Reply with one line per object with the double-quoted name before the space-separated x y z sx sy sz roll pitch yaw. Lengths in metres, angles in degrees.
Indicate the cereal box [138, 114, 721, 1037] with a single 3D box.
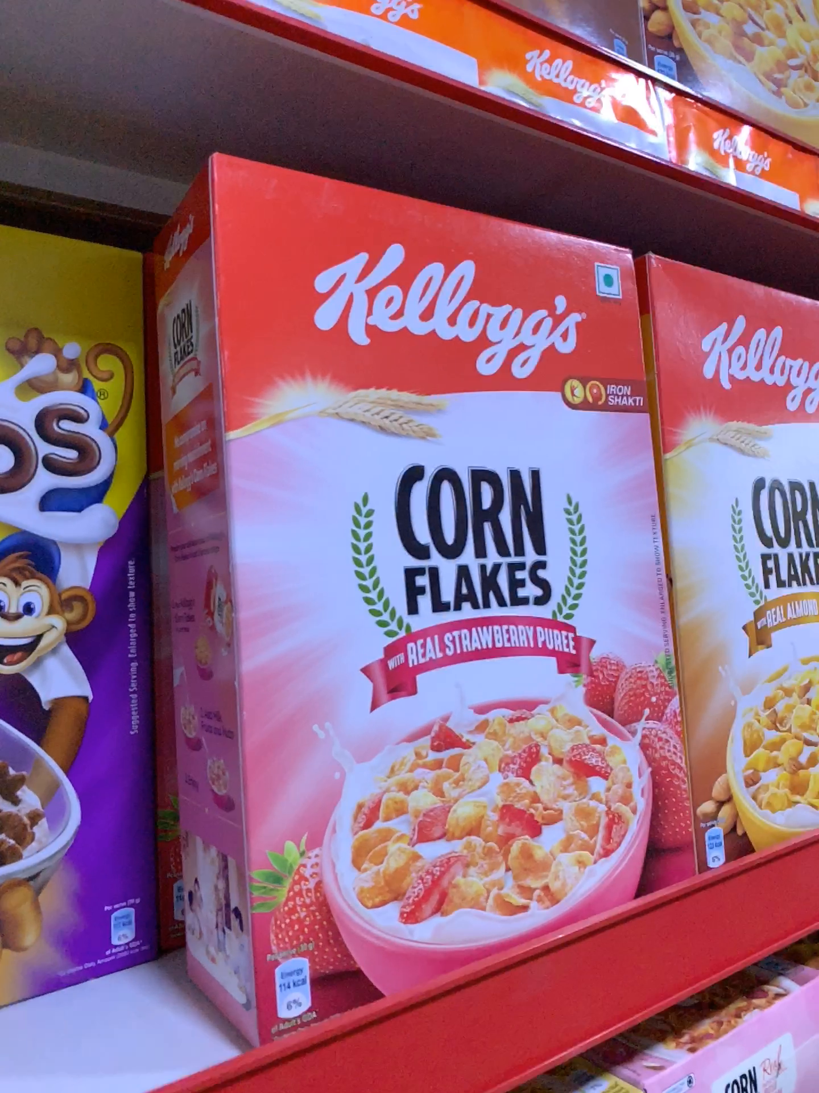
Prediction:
"cereal box" 0.013 0.003 0.298 0.190 0.240 0.060 0 -6 -34
